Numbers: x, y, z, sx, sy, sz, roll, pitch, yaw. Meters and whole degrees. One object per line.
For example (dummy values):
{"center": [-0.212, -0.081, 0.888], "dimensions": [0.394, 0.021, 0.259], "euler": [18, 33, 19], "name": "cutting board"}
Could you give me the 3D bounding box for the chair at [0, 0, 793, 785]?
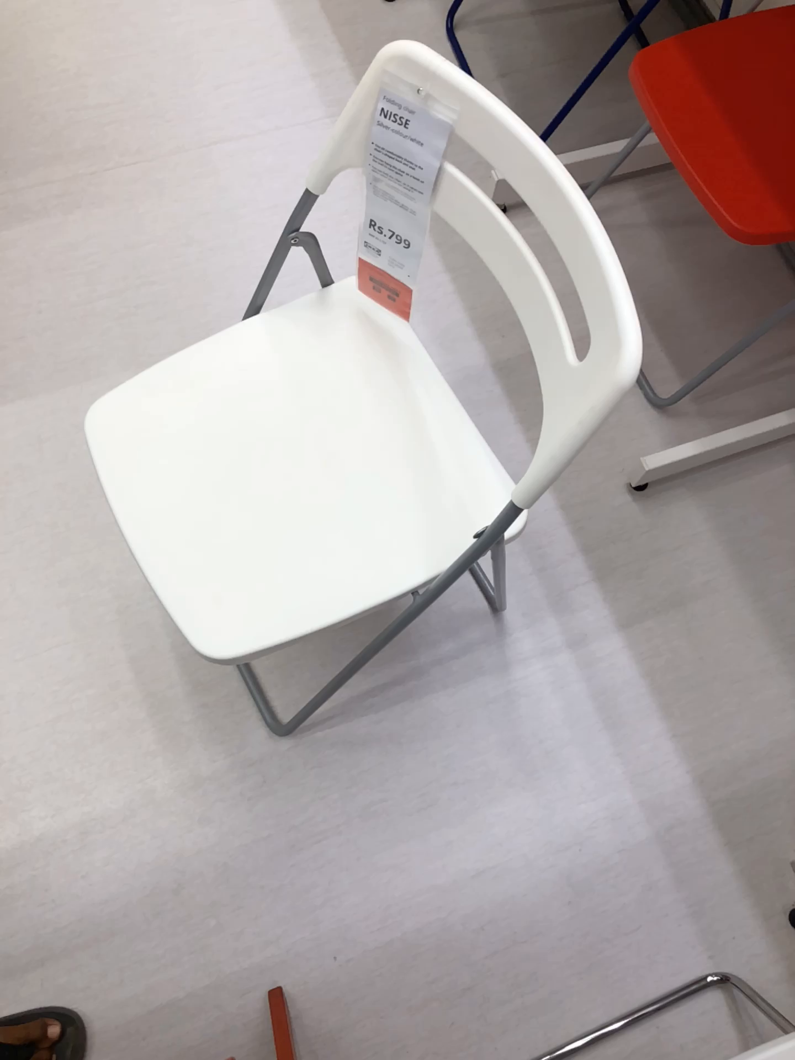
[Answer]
{"center": [-0.068, -0.095, 1.011], "dimensions": [0.541, 0.668, 0.501], "euler": [-27, 74, -14], "name": "chair"}
